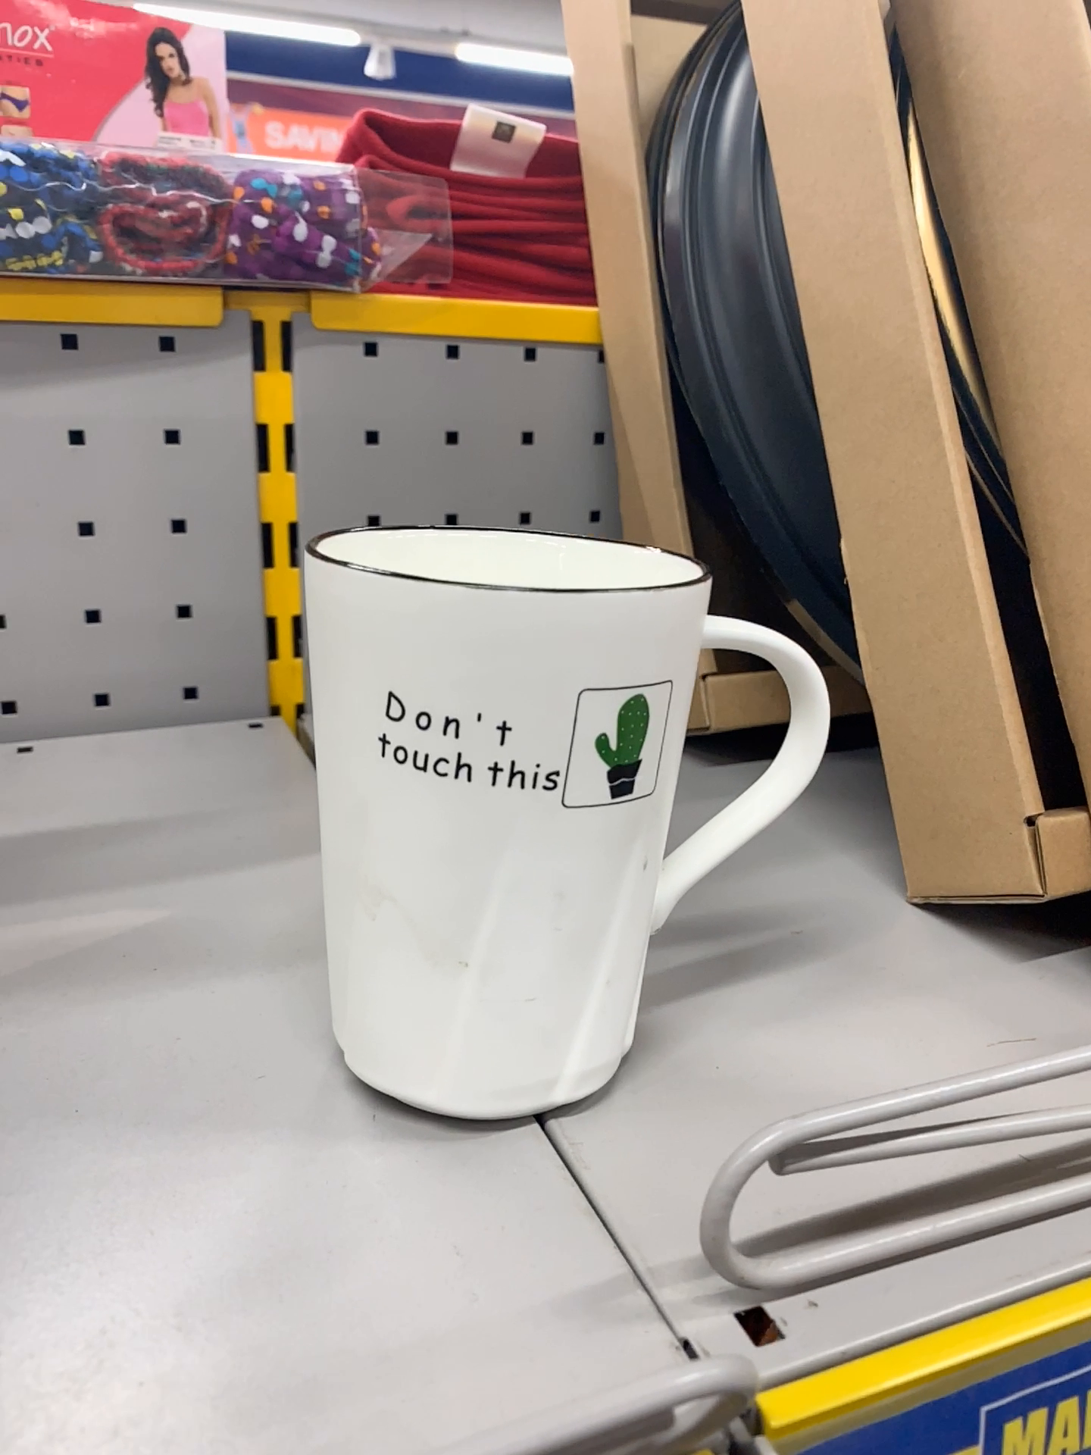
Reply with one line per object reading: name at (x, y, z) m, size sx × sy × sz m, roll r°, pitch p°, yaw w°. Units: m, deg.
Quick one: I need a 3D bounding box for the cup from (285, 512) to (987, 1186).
cup at (0.012, 0.016, 0.268) m, size 0.130 × 0.120 × 0.090 m, roll -4°, pitch 19°, yaw -18°
